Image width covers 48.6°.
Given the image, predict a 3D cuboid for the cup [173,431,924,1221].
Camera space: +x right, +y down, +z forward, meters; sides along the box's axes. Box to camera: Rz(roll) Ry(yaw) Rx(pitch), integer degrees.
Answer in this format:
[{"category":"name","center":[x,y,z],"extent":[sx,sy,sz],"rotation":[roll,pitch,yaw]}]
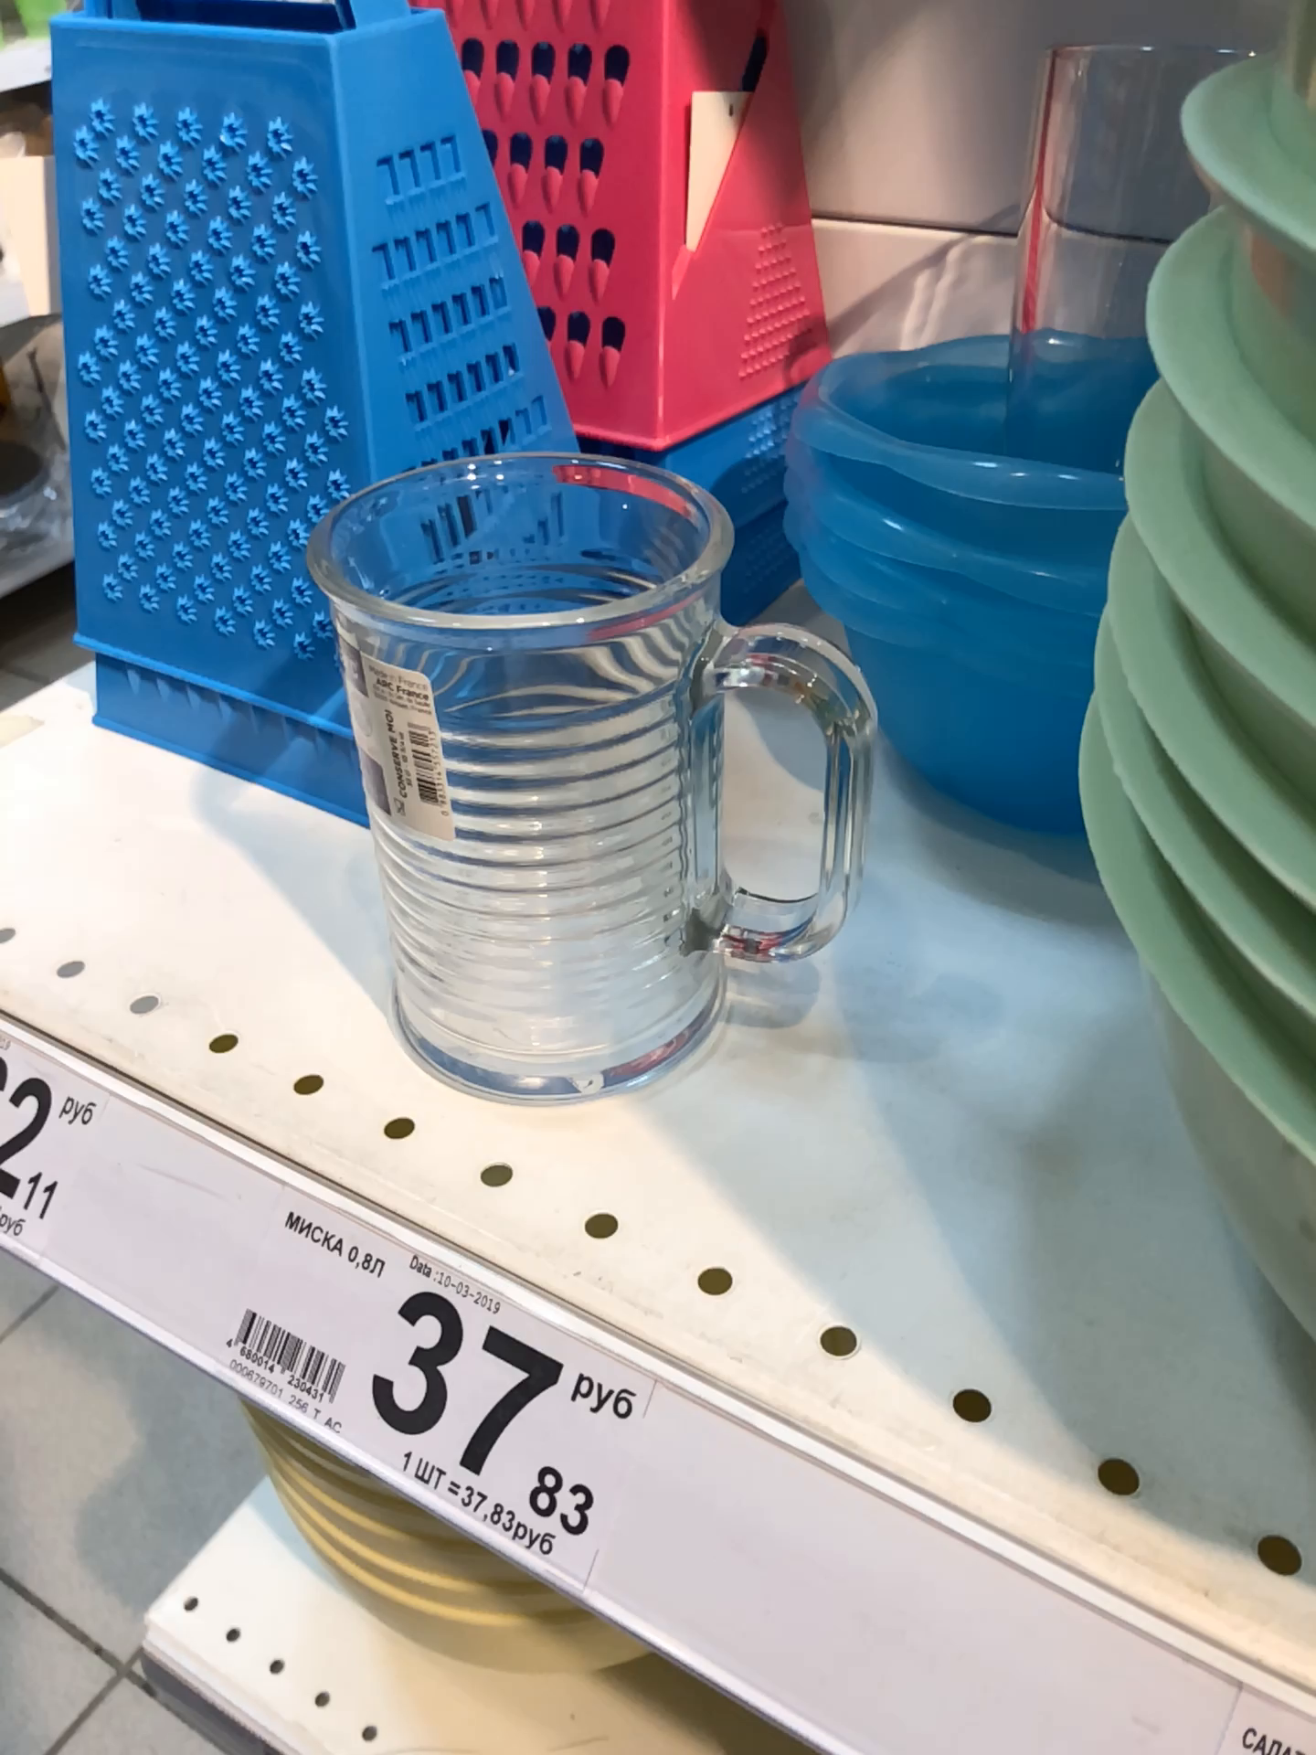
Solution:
[{"category":"cup","center":[-0.015,-0.016,0.289],"extent":[0.102,0.104,0.087],"rotation":[18,42,26]}]
